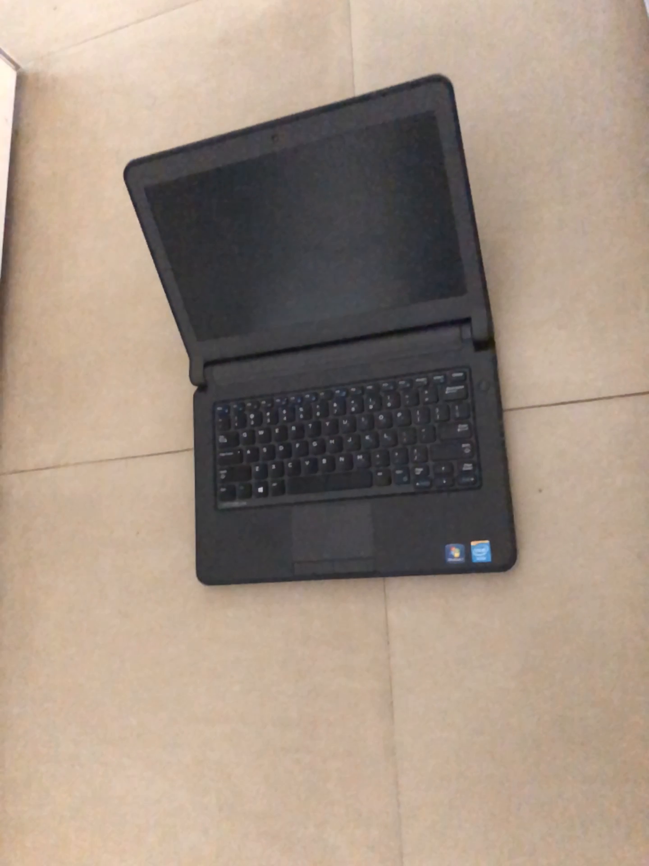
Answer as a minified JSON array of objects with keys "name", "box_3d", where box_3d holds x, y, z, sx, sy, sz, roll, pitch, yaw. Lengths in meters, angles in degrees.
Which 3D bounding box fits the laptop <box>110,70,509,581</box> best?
[{"name":"laptop","box_3d":[-0.016,-0.072,0.665,0.312,0.154,0.392,-7,76,20]}]
